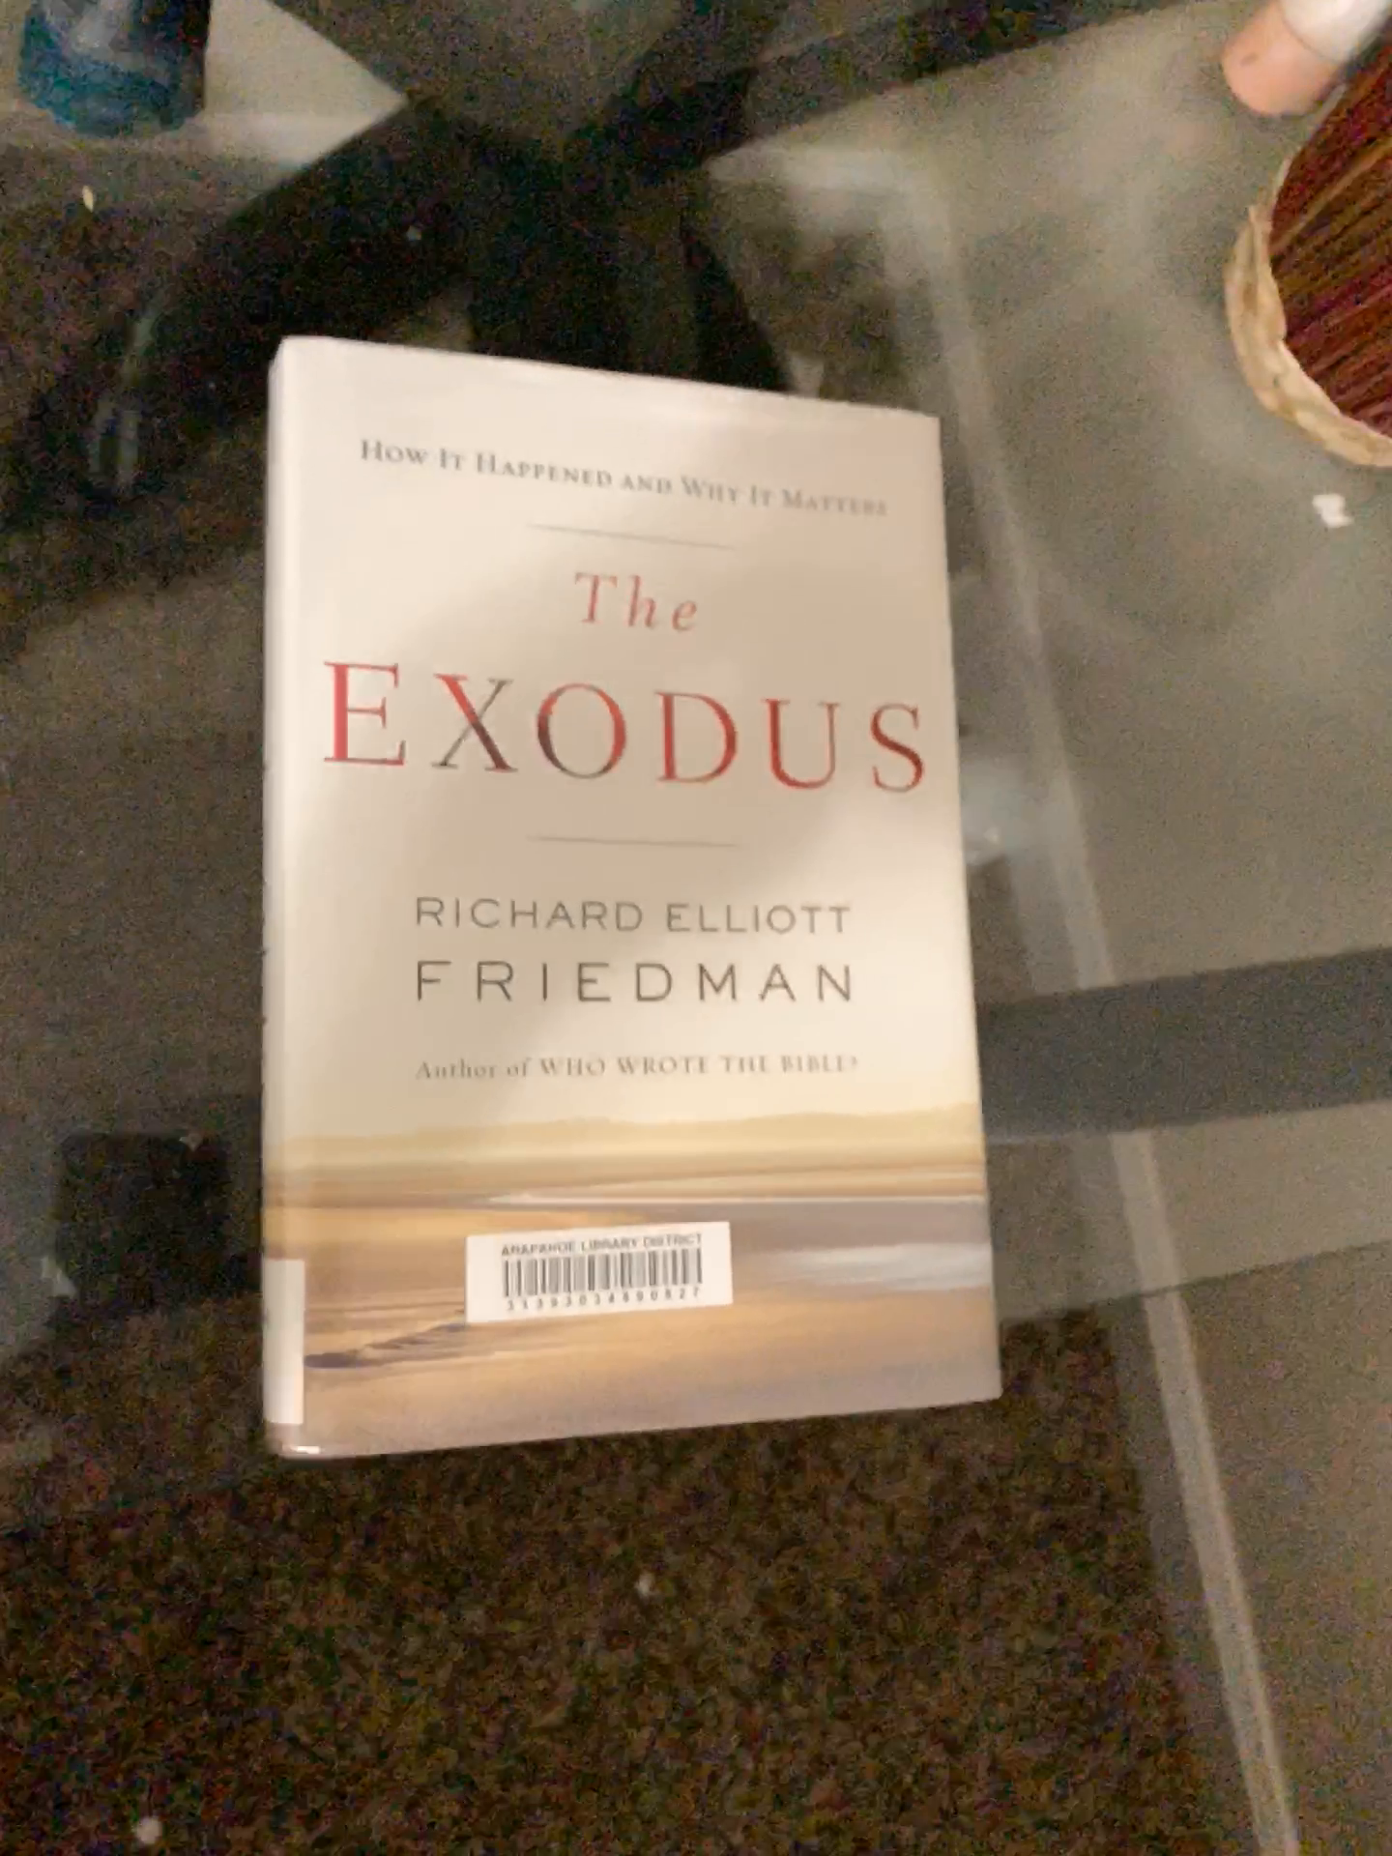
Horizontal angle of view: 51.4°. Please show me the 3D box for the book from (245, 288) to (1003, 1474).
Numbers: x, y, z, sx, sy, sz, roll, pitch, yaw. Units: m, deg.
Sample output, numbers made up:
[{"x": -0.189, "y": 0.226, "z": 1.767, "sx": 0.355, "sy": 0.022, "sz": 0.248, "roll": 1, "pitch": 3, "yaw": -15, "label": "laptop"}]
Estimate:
[{"x": -0.014, "y": -0.011, "z": 0.320, "sx": 0.160, "sy": 0.030, "sz": 0.231, "roll": 1, "pitch": 85, "yaw": -19, "label": "book"}]
